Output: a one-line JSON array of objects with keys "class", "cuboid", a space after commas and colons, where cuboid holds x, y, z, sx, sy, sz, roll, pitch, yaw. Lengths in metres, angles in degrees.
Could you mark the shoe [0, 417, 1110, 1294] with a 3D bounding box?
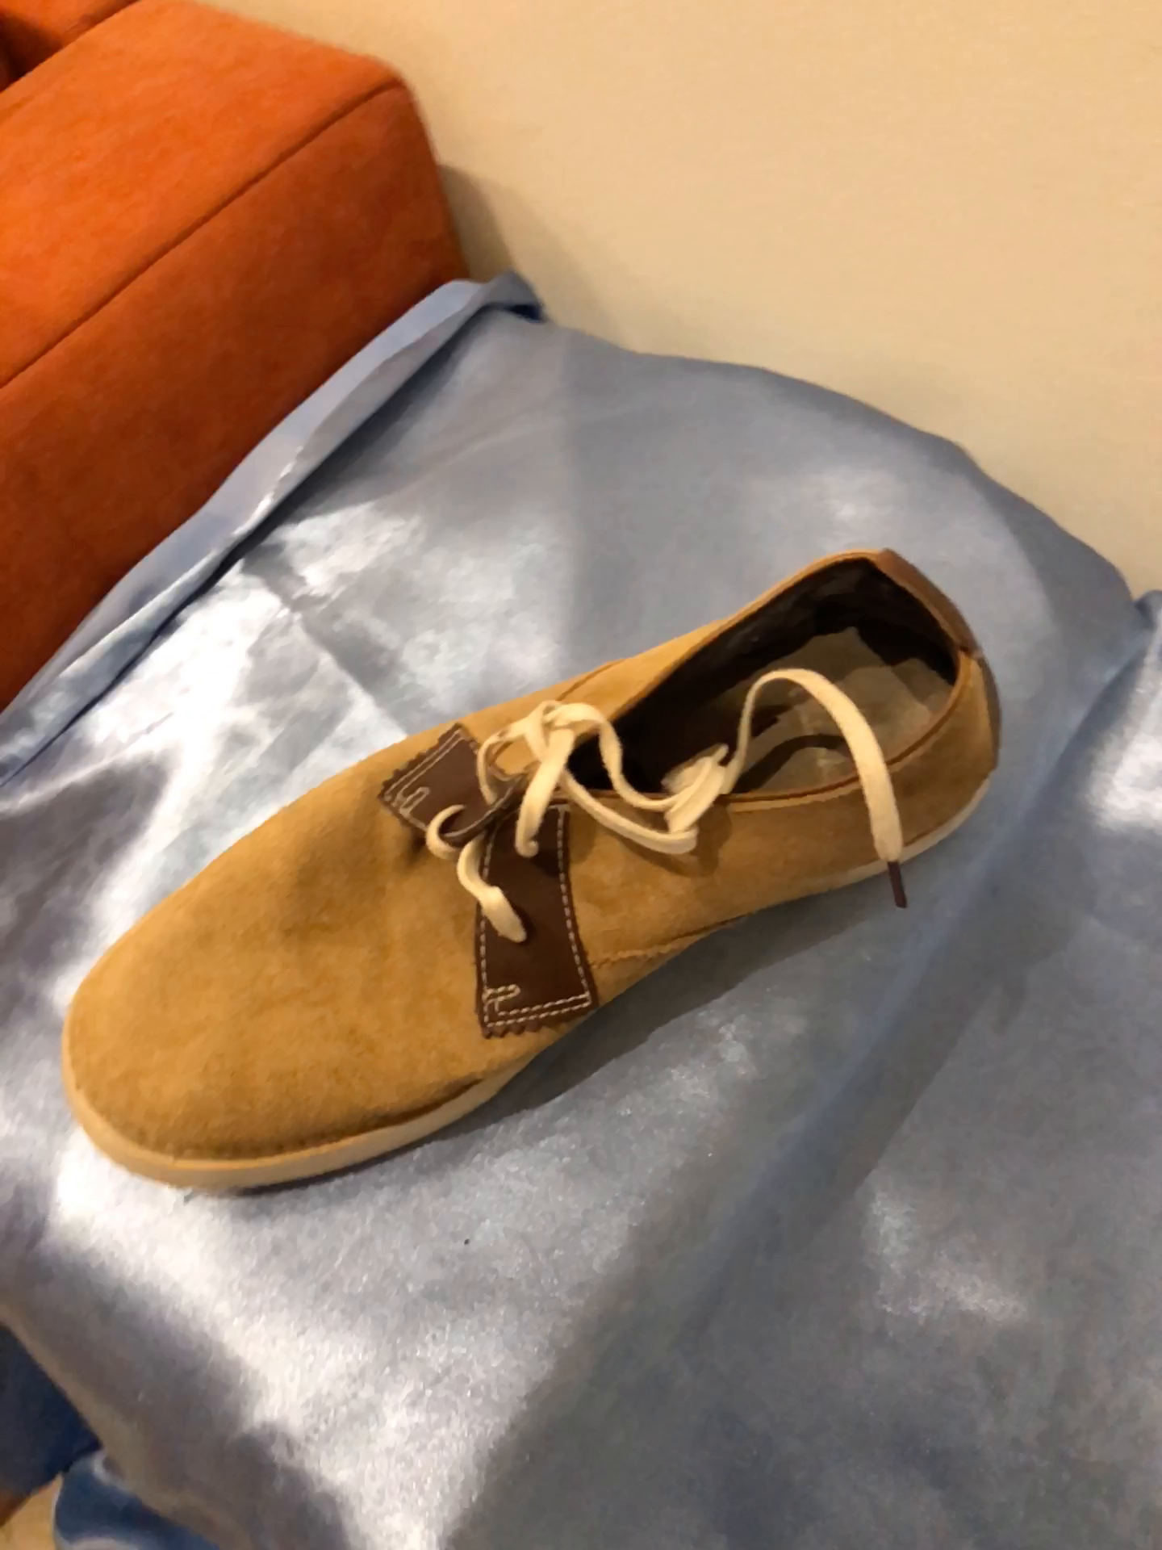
[{"class": "shoe", "cuboid": [-0.017, 0.027, 0.397, 0.300, 0.119, 0.121, -24, 59, -5]}]
